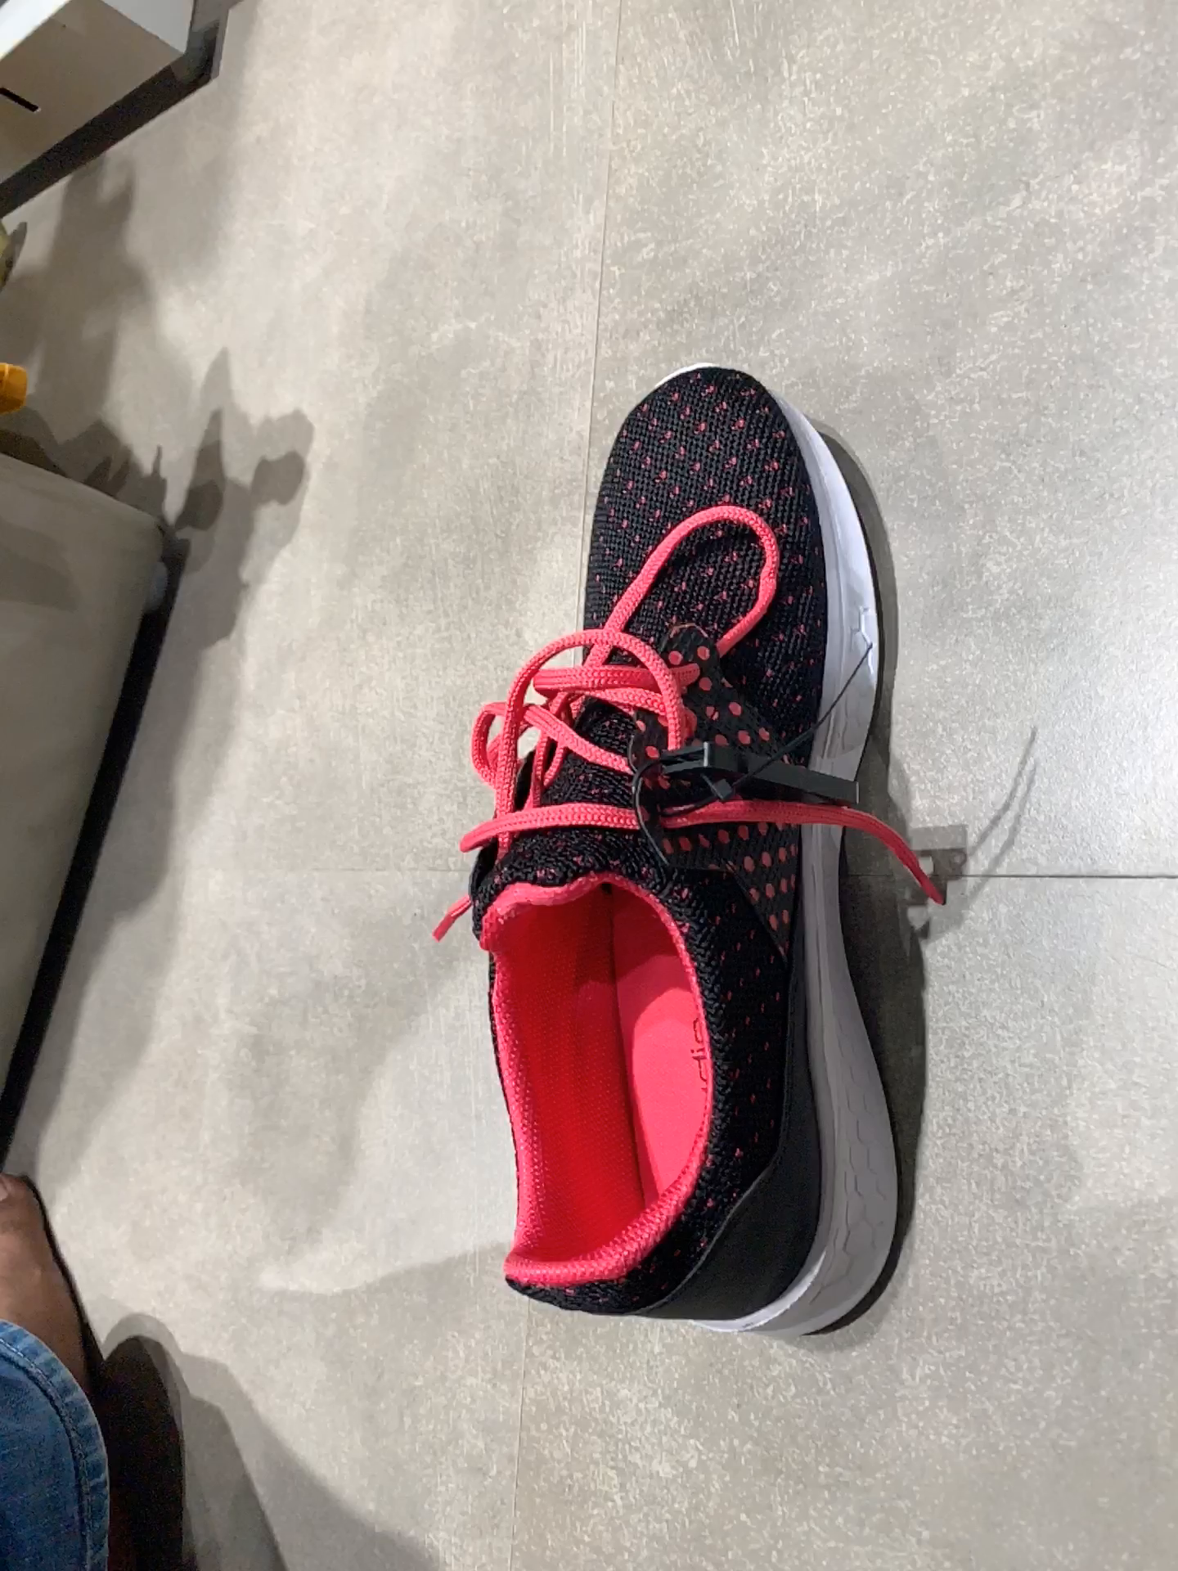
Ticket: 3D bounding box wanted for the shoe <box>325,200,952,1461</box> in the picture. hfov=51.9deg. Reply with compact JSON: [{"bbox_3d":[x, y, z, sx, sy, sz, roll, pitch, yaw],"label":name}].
[{"bbox_3d":[0.012,0.011,0.325,0.110,0.109,0.263,-11,75,40],"label":"shoe"}]
